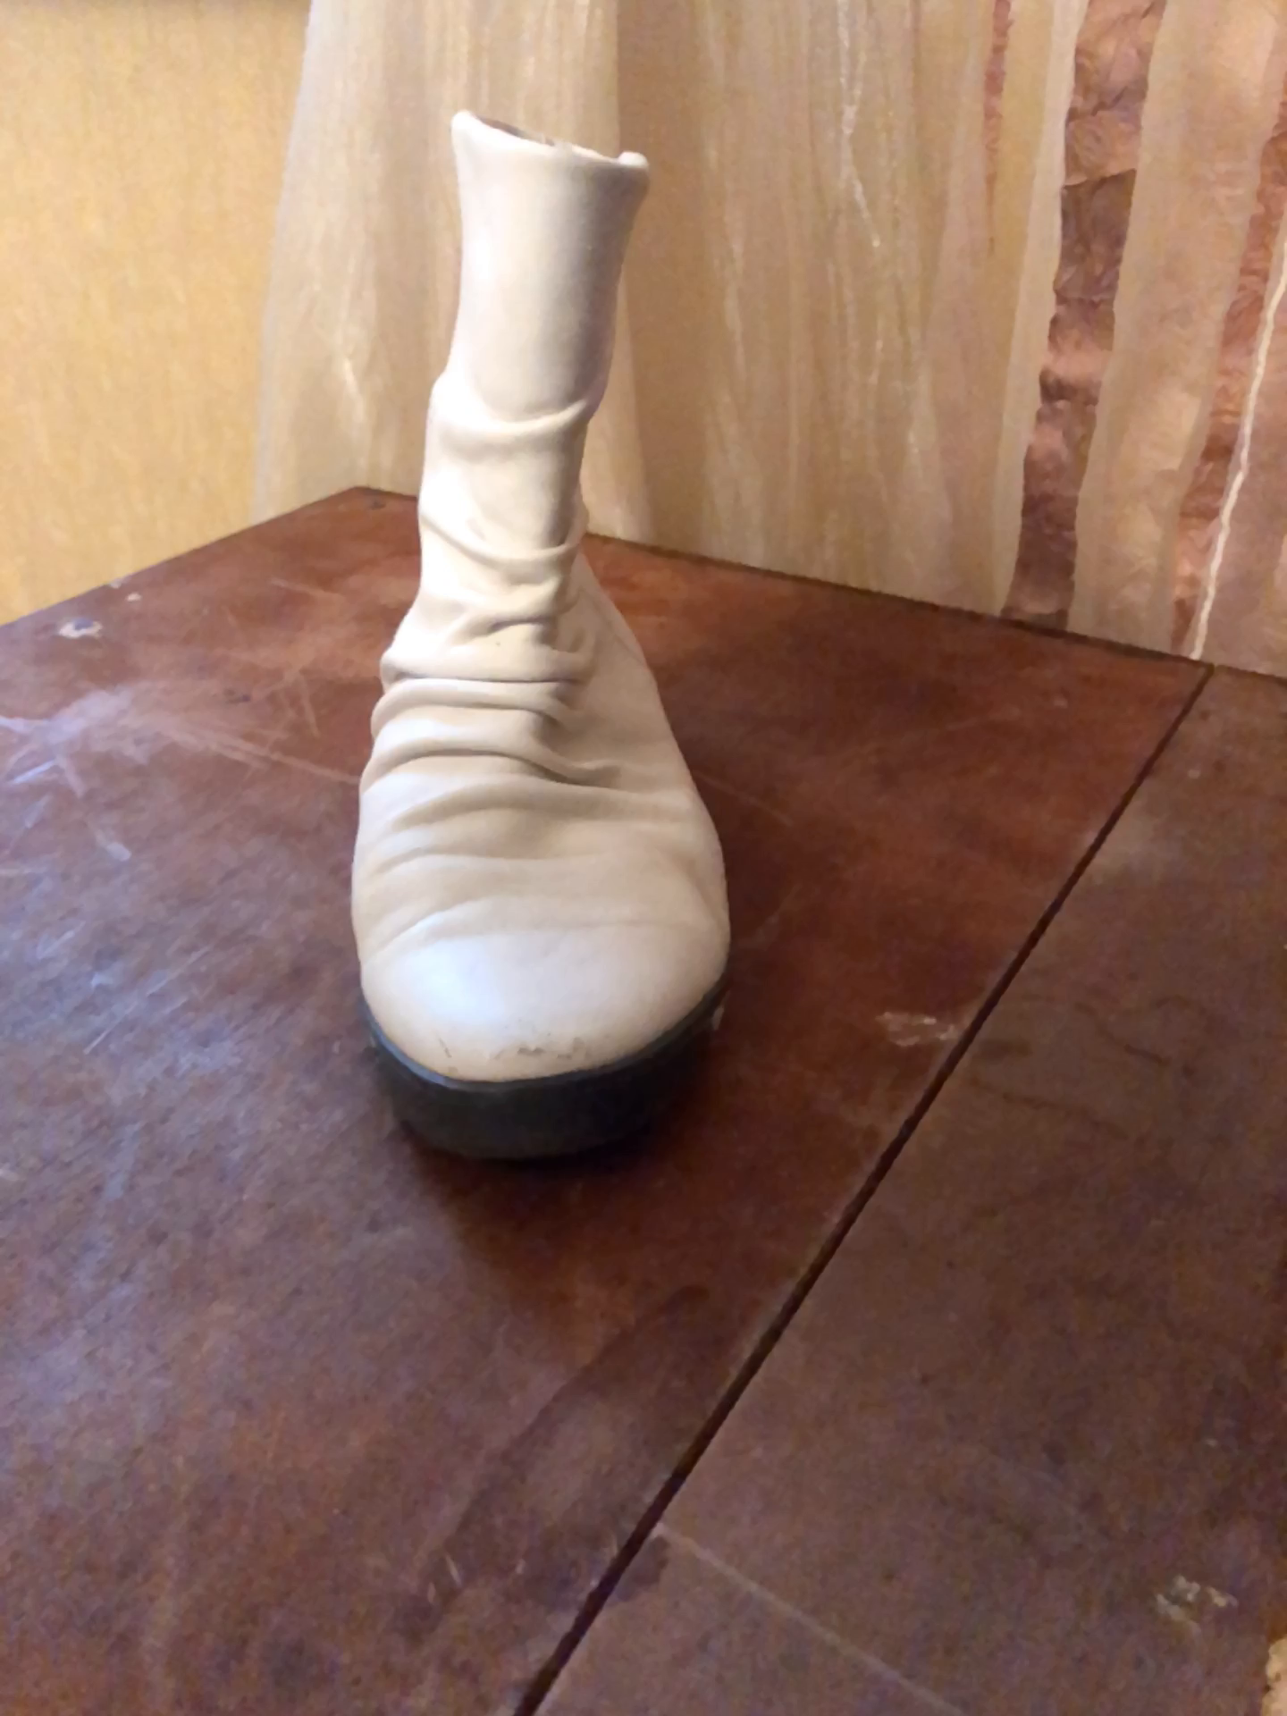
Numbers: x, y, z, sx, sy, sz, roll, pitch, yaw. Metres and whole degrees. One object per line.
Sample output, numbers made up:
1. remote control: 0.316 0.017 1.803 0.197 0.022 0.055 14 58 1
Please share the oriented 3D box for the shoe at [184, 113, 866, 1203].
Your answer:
1. shoe: -0.021 -0.069 0.336 0.090 0.169 0.241 0 31 -2
